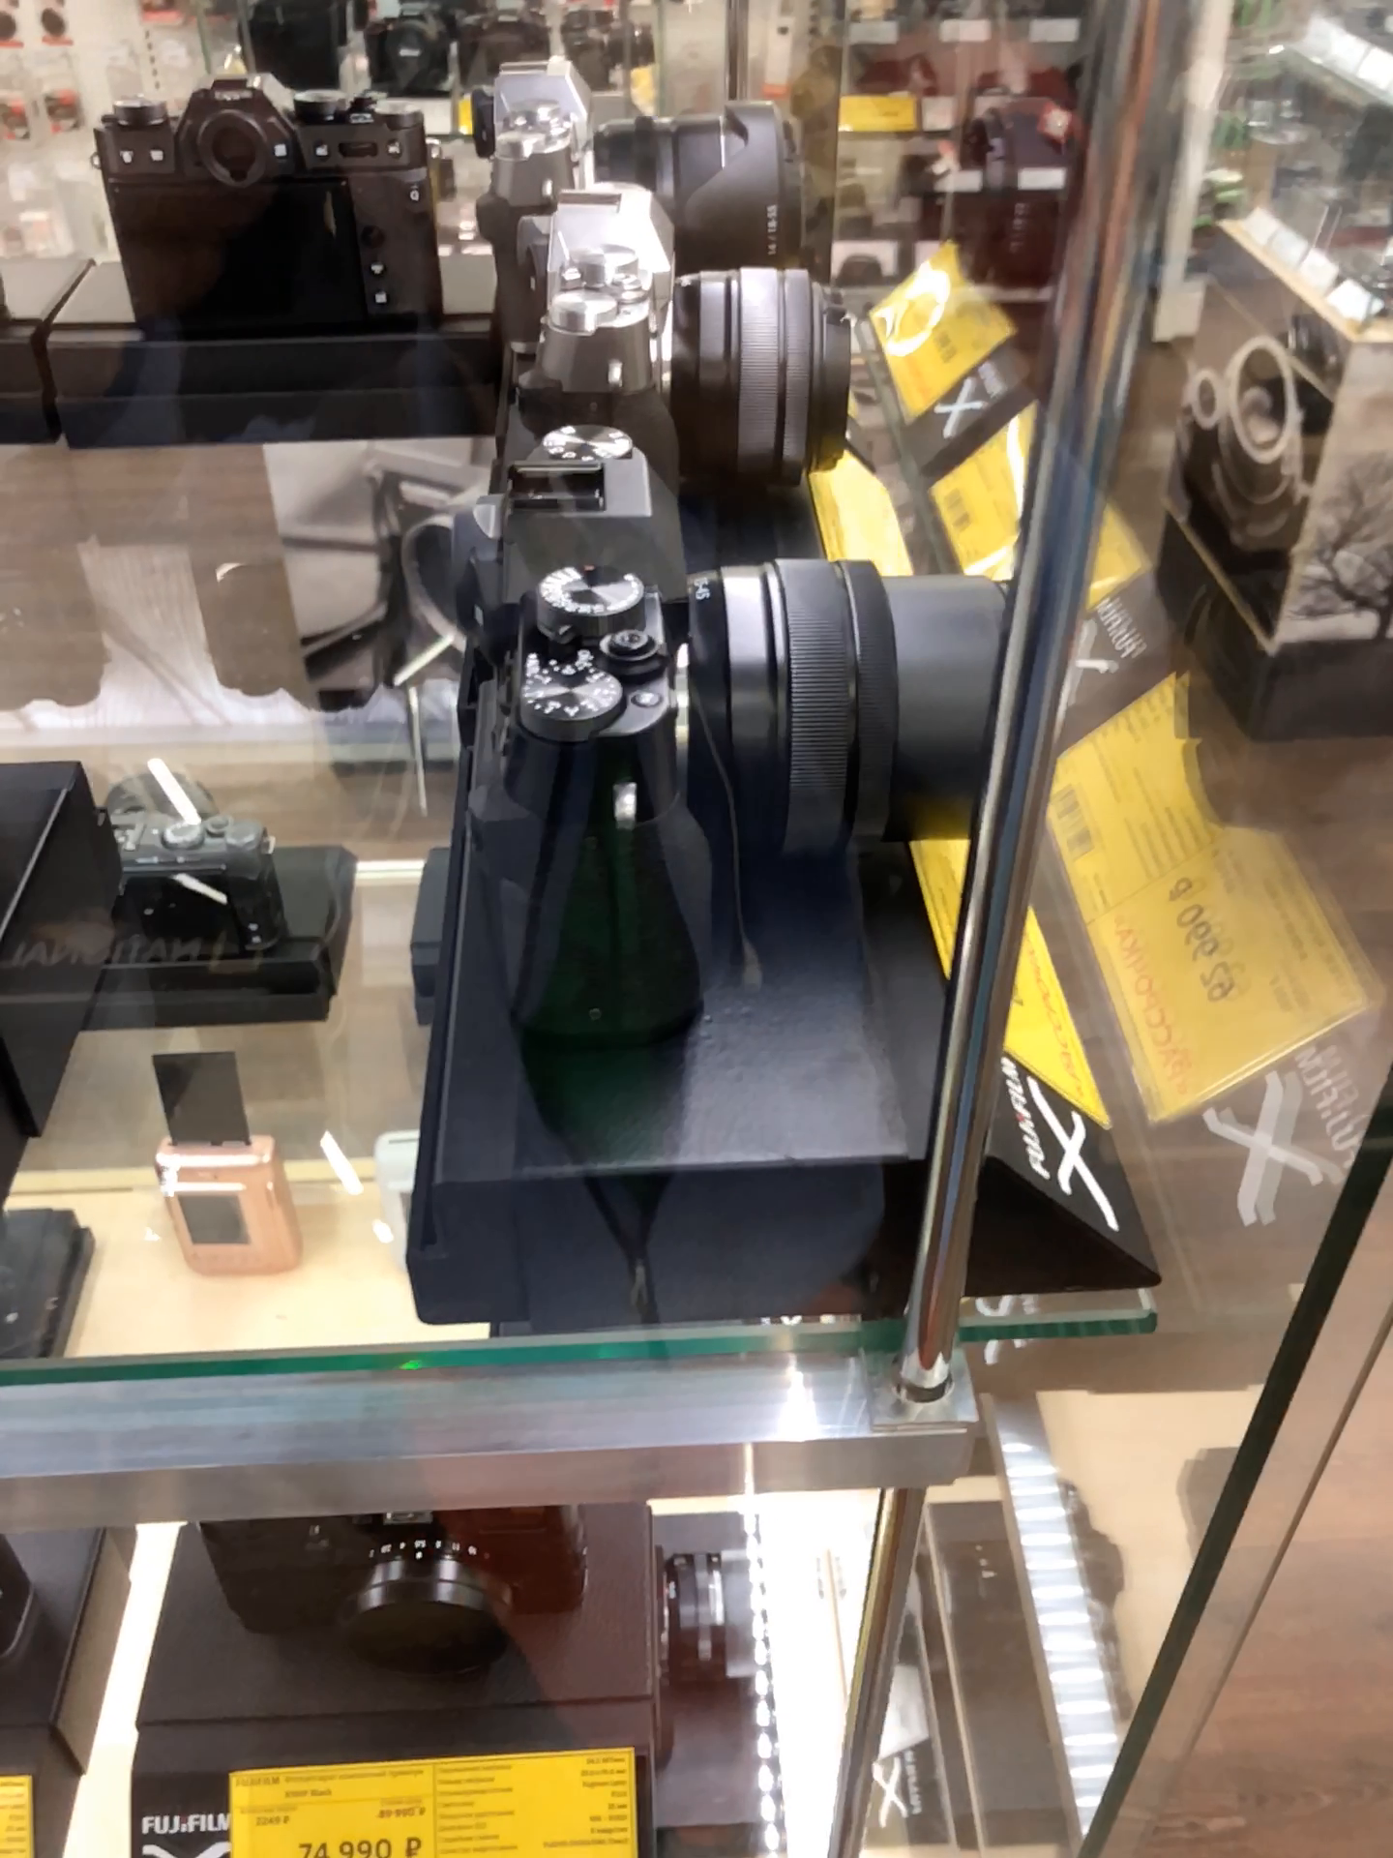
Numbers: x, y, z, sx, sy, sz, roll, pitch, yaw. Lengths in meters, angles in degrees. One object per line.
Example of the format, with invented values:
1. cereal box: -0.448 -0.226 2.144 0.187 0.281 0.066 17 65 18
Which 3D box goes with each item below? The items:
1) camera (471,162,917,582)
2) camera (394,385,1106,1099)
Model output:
1. camera: -0.002 -0.163 0.442 0.108 0.078 0.114 -1 39 -1
2. camera: 0.004 -0.042 0.309 0.110 0.089 0.114 -3 39 -4
